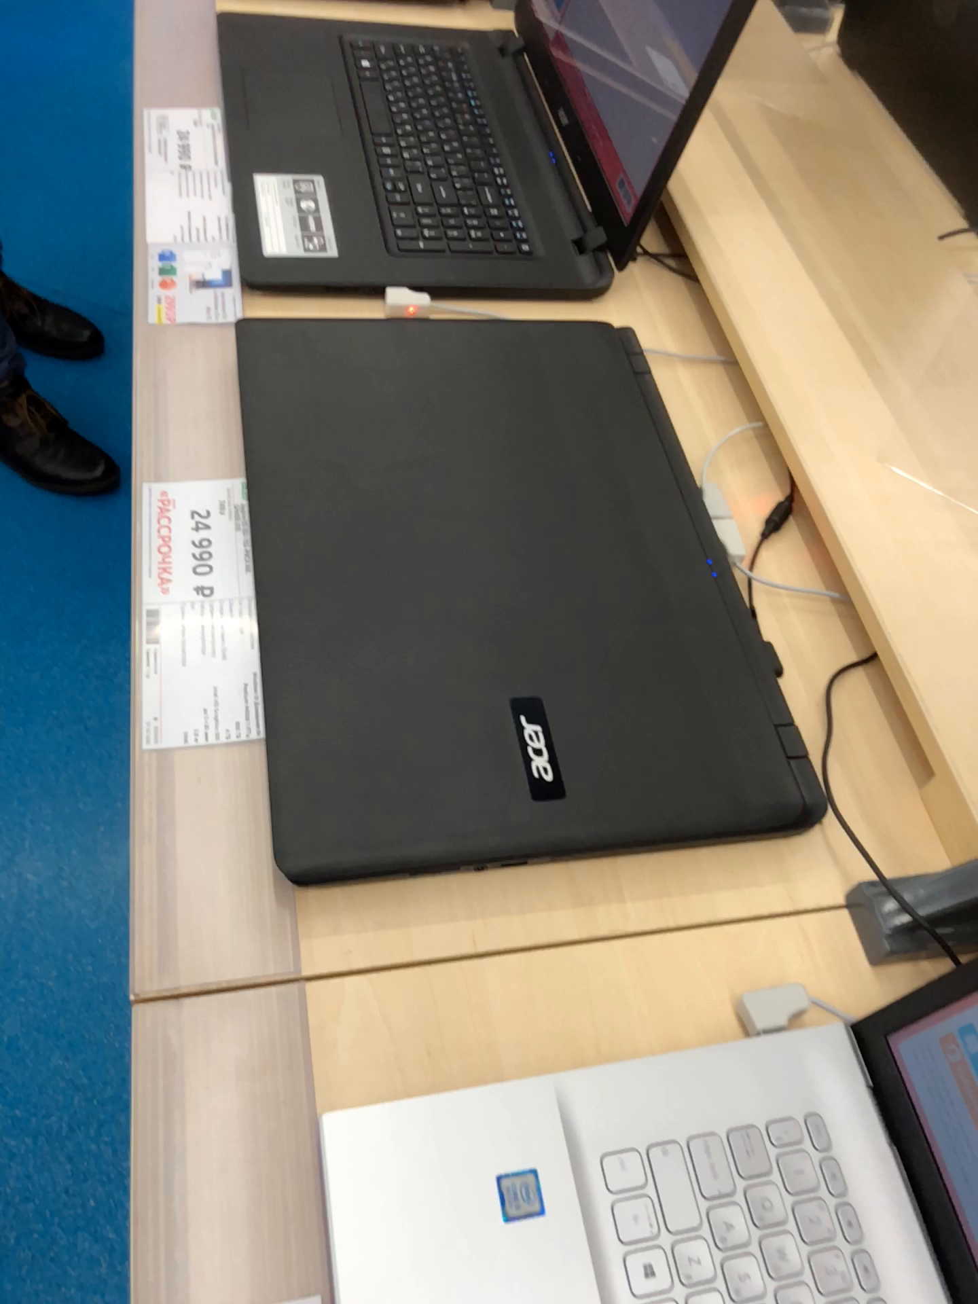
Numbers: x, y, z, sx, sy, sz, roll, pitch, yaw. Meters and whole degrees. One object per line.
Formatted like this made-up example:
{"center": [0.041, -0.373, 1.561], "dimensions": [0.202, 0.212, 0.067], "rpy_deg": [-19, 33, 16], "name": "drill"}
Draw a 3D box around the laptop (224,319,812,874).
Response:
{"center": [-0.005, -0.071, 0.662], "dimensions": [0.278, 0.005, 0.411], "rpy_deg": [-5, 55, -14], "name": "laptop"}
